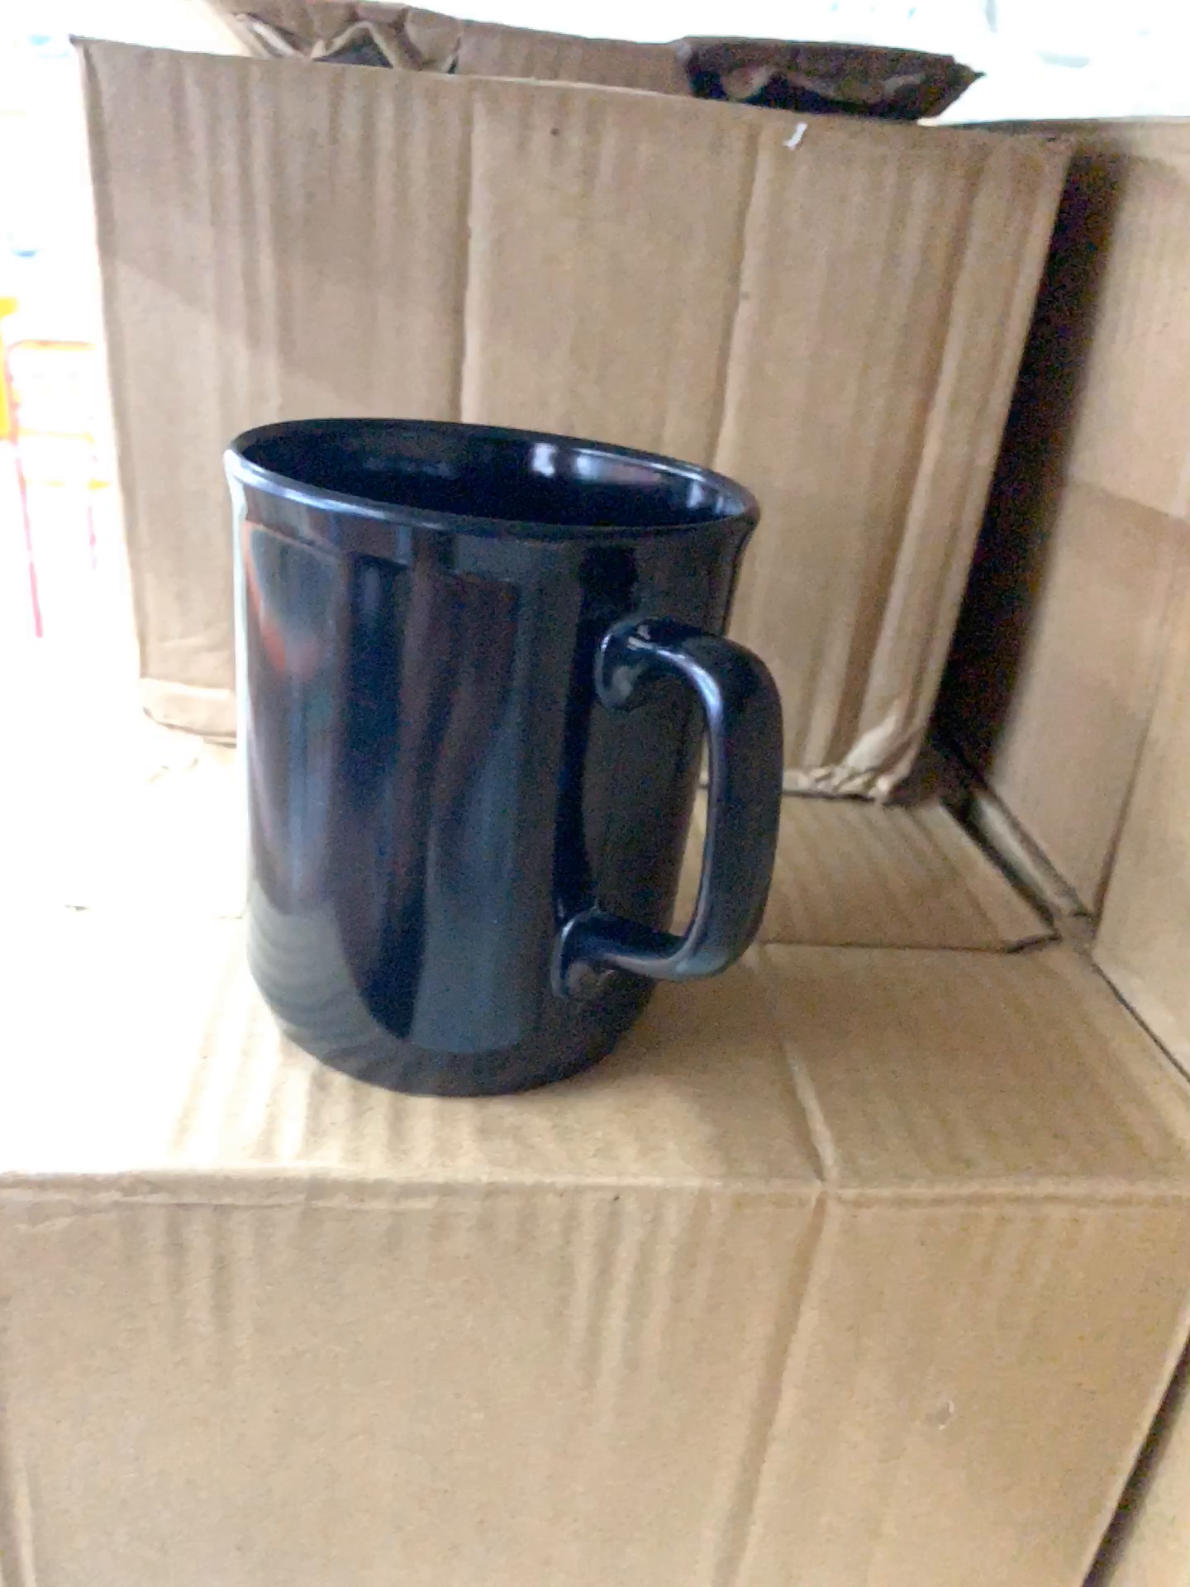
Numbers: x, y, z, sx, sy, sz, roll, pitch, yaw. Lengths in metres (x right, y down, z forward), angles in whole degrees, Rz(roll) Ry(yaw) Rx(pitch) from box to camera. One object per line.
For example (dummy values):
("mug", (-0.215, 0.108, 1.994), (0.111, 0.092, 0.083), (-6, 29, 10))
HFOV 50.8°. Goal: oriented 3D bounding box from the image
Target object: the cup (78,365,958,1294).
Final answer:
("cup", (-0.017, -0.009, 0.183), (0.070, 0.089, 0.100), (-16, 31, -36))
